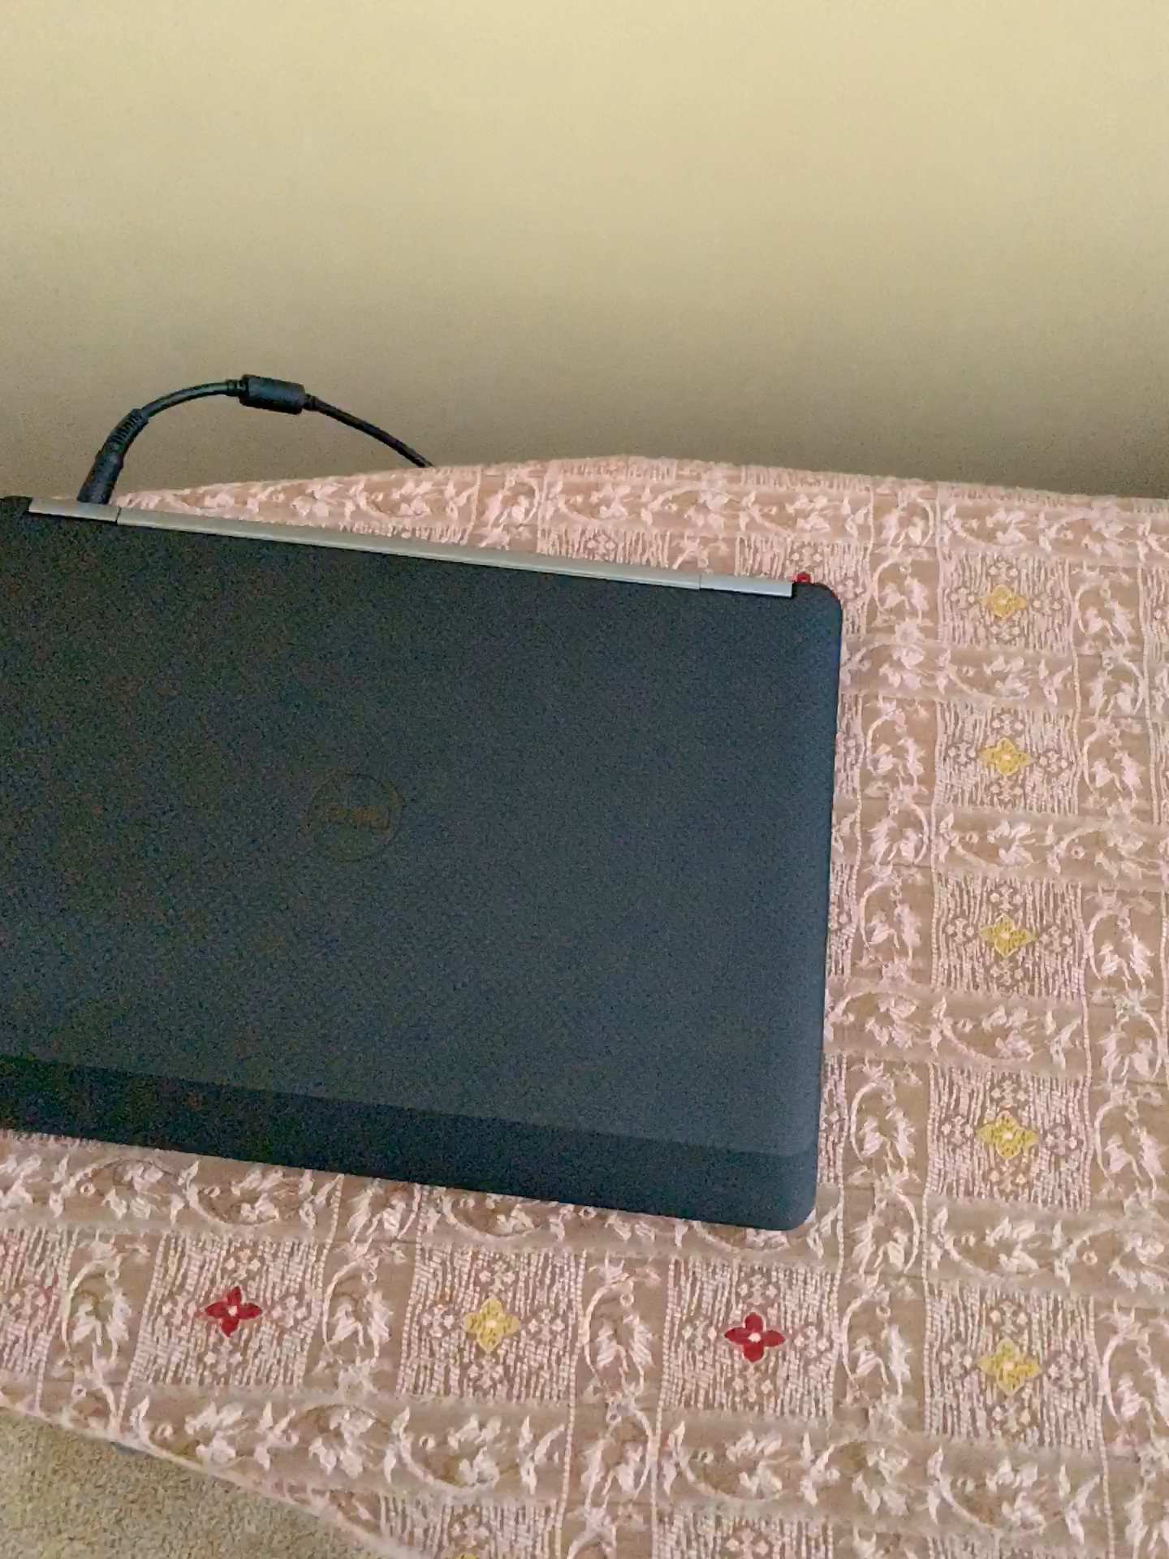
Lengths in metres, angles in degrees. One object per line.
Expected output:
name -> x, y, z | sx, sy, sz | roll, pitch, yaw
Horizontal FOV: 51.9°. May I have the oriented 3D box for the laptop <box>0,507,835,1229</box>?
laptop -> -0.078, 0.015, 0.379 | 0.294, 0.017, 0.197 | 6, 70, 7
